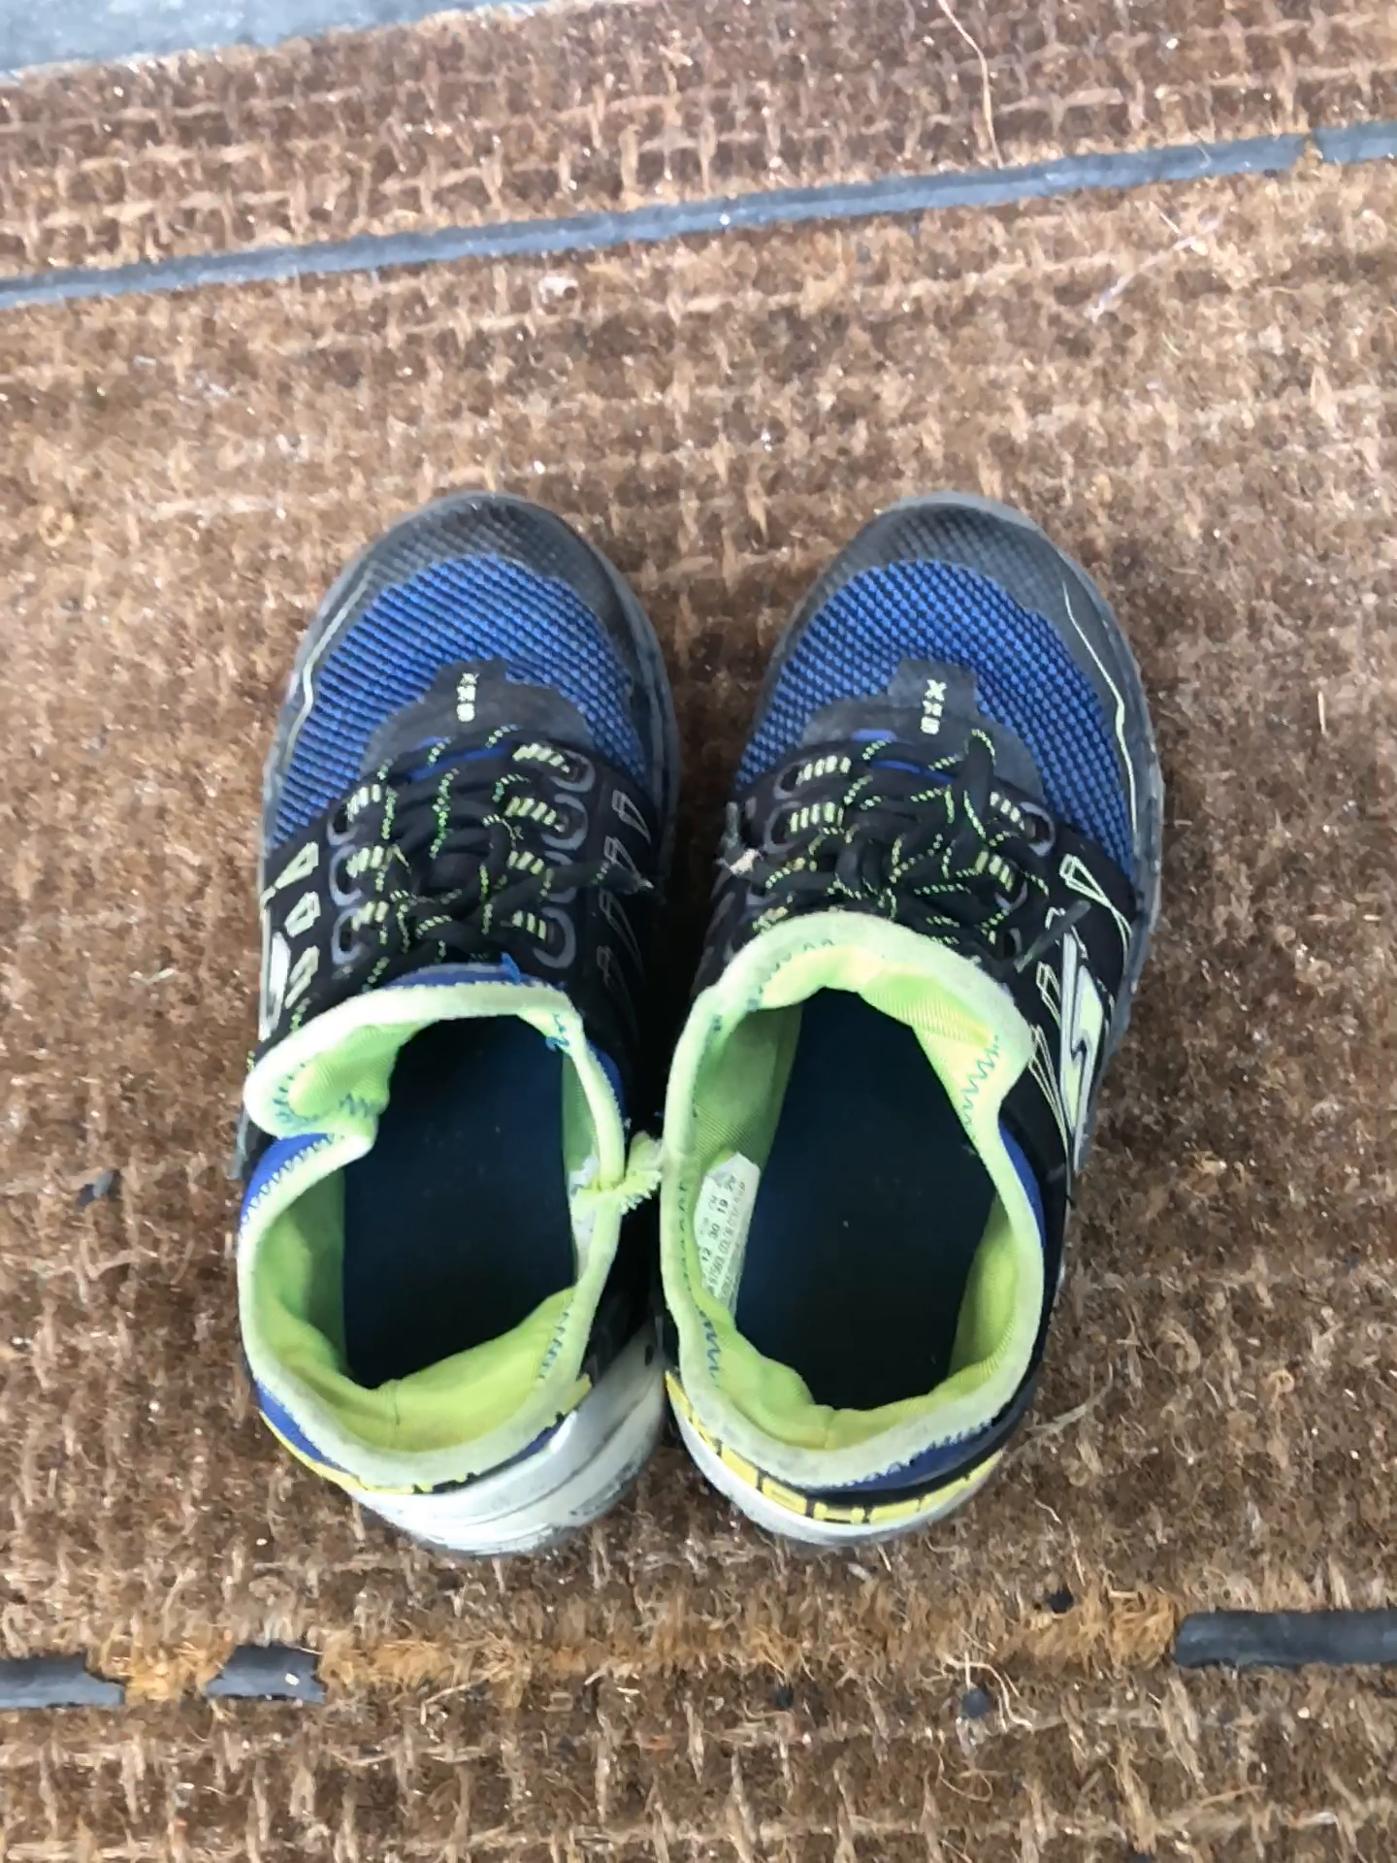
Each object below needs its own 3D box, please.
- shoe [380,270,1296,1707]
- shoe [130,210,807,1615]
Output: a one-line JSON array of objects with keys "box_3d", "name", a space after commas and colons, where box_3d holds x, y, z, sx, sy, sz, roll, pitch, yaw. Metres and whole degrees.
[{"box_3d": [0.031, 0.007, 0.272, 0.090, 0.100, 0.200, 12, 75, 10], "name": "shoe"}, {"box_3d": [-0.043, -0.003, 0.302, 0.090, 0.100, 0.230, -9, 72, 4], "name": "shoe"}]
